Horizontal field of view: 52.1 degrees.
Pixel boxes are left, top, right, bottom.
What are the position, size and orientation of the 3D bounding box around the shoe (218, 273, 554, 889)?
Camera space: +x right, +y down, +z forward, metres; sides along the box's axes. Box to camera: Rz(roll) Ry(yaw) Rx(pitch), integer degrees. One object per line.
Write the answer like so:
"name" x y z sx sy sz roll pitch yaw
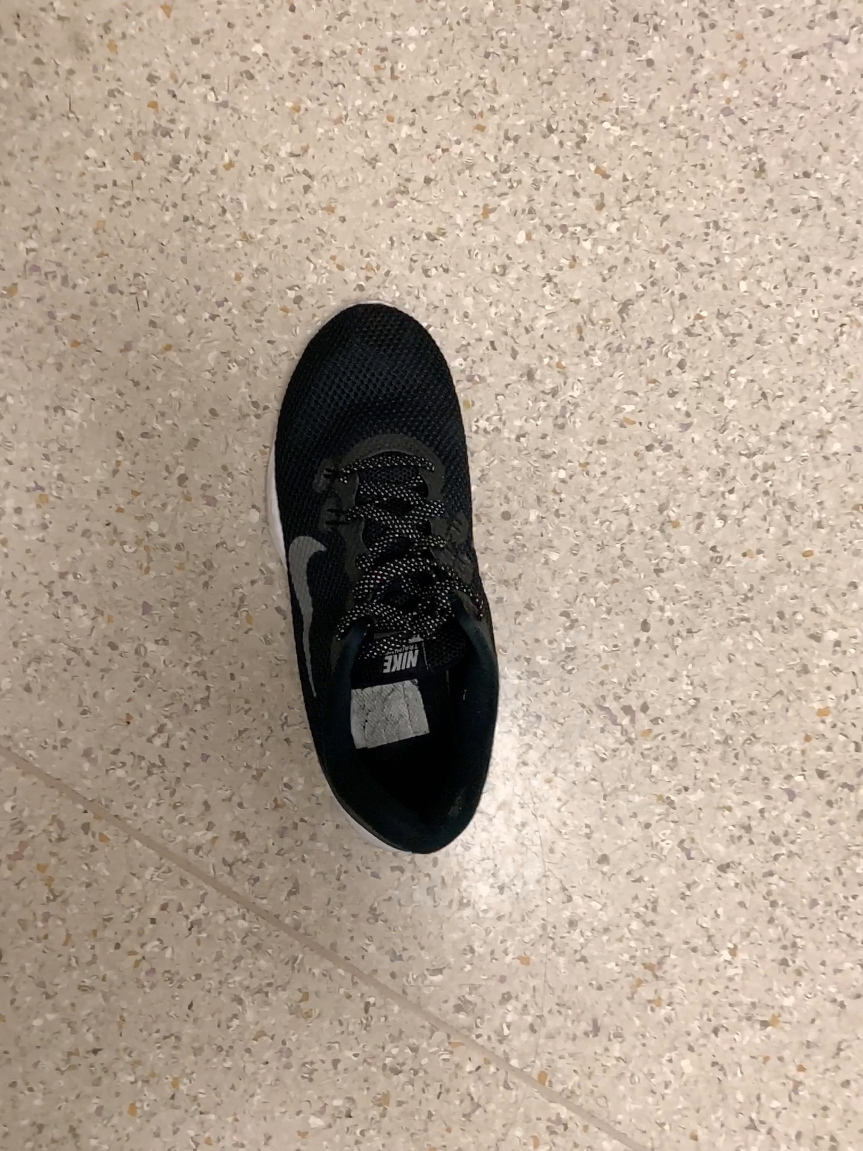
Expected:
"shoe" -0.023 0.001 0.425 0.113 0.094 0.252 -7 86 -4
